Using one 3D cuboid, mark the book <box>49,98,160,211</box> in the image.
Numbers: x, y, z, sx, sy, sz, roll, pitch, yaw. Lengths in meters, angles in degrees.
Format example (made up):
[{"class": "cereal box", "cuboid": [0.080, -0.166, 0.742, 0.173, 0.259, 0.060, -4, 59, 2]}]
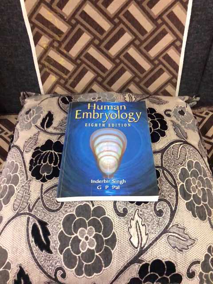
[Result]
[{"class": "book", "cuboid": [-0.002, 0.011, 0.511, 0.200, 0.030, 0.271, 1, 53, -1]}]
